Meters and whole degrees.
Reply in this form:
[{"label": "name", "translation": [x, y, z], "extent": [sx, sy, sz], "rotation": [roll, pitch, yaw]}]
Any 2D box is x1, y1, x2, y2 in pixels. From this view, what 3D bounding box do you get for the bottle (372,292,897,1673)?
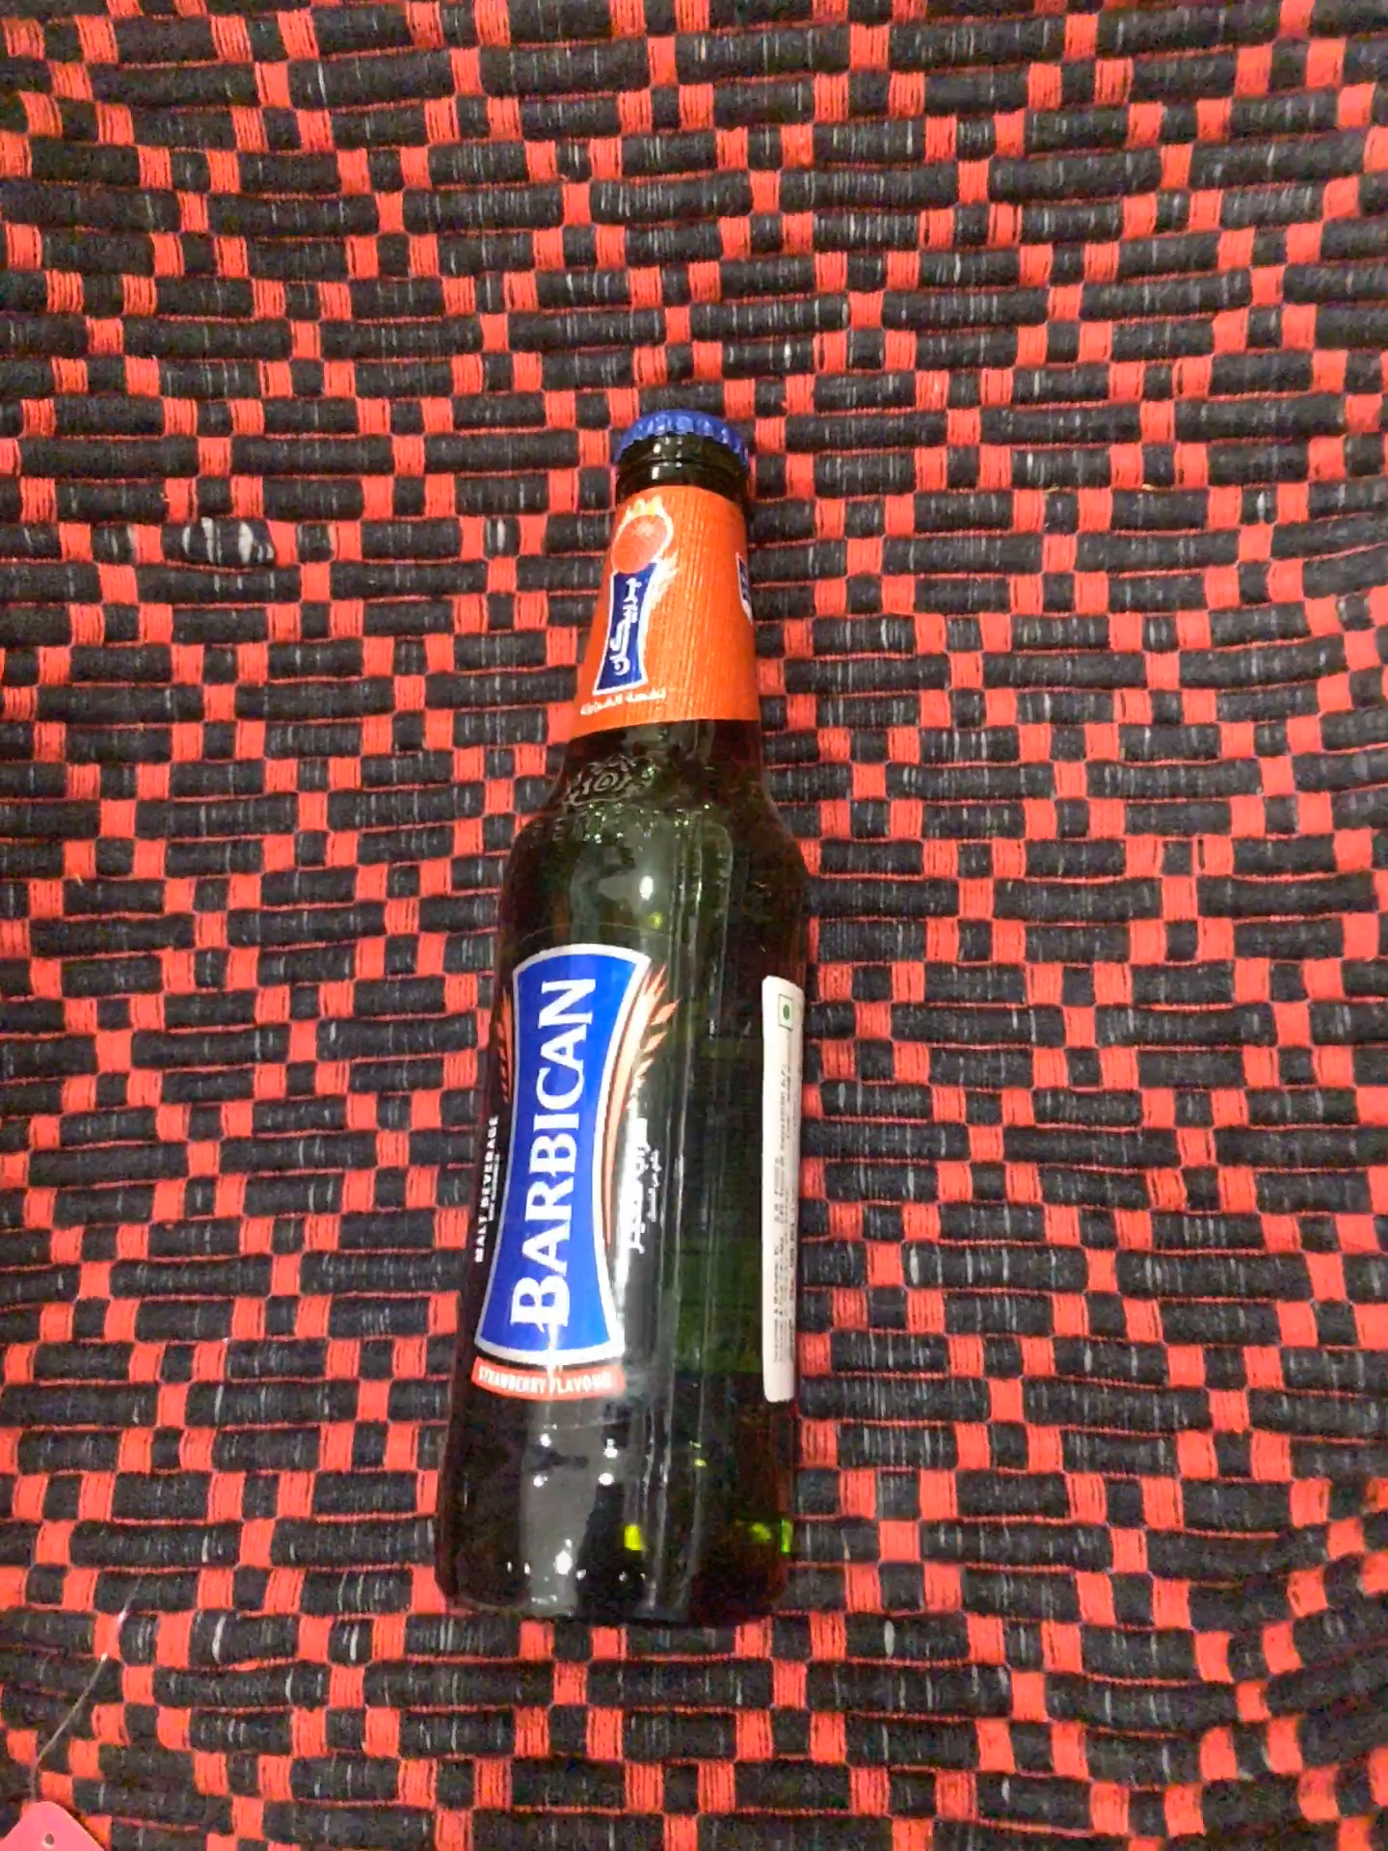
[{"label": "bottle", "translation": [-0.003, 0.006, 0.263], "extent": [0.060, 0.070, 0.220], "rotation": [-6, 71, 22]}]
